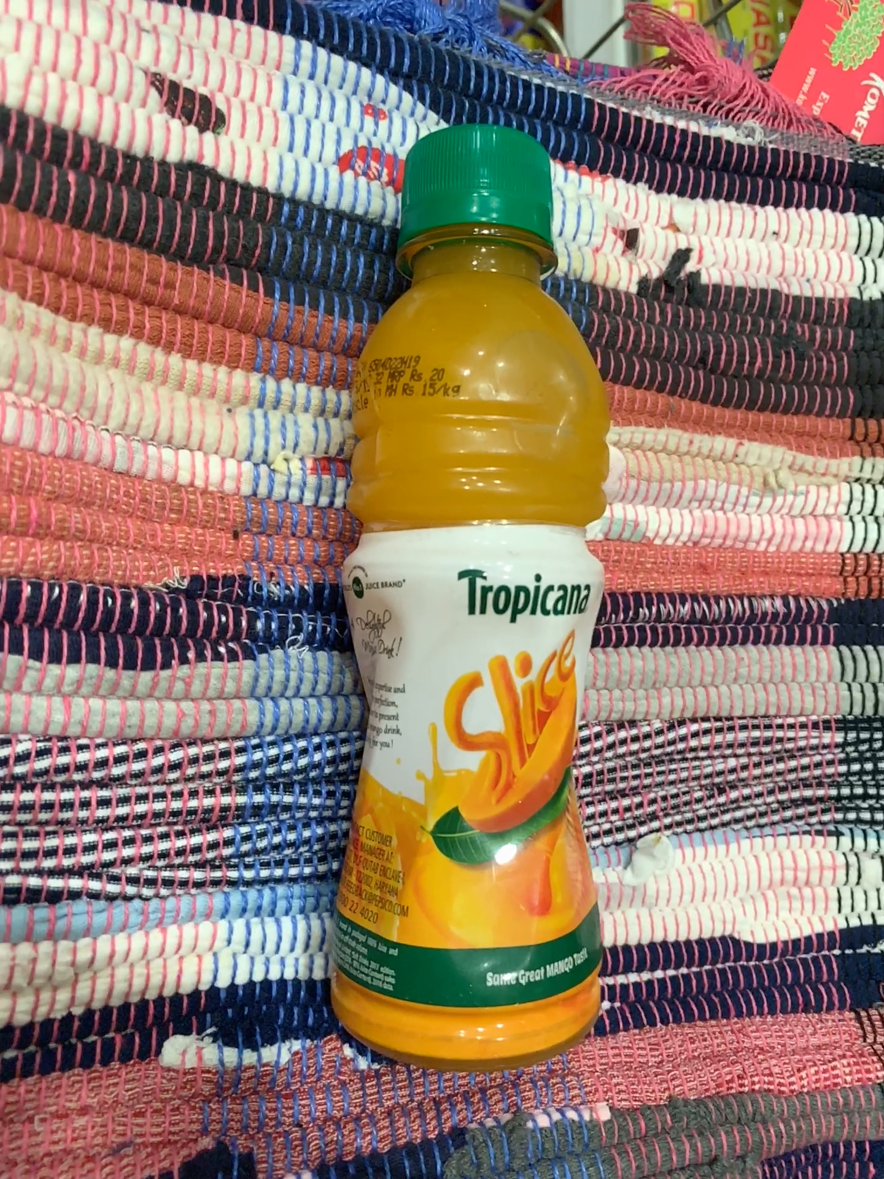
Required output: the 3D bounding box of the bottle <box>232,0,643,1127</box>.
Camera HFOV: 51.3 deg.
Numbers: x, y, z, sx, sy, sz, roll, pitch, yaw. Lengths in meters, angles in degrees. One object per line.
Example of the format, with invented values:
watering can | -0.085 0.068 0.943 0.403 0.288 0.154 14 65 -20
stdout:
bottle | -0.003 -0.013 0.178 0.060 0.050 0.190 2 85 -28
